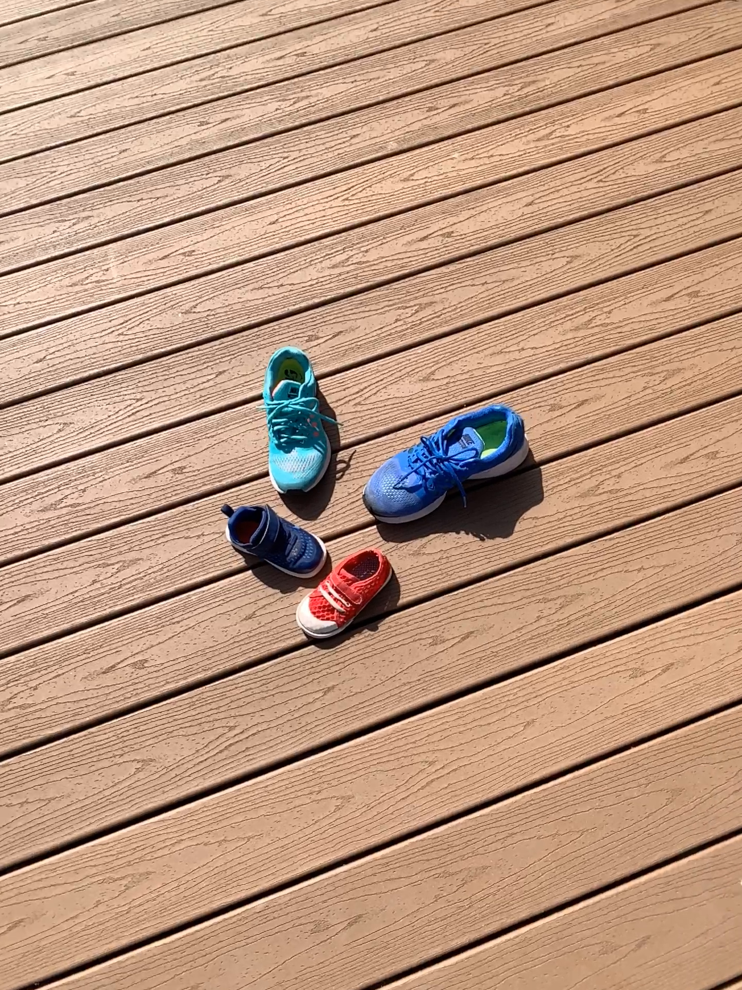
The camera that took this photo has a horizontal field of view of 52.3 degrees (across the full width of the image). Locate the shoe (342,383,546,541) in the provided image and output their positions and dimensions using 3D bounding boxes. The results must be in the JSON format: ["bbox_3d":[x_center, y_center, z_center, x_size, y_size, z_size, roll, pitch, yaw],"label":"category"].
[{"bbox_3d":[0.113,-0.053,1.202,0.290,0.090,0.120,-24,67,-8],"label":"shoe"}]

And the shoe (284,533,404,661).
[{"bbox_3d":[-0.038,0.152,1.128,0.080,0.060,0.170,40,73,18],"label":"shoe"}]

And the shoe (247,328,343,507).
[{"bbox_3d":[-0.126,-0.130,1.246,0.120,0.090,0.271,-8,65,-2],"label":"shoe"}]

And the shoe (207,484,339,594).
[{"bbox_3d":[-0.148,0.068,1.157,0.170,0.070,0.090,23,68,12],"label":"shoe"}]
